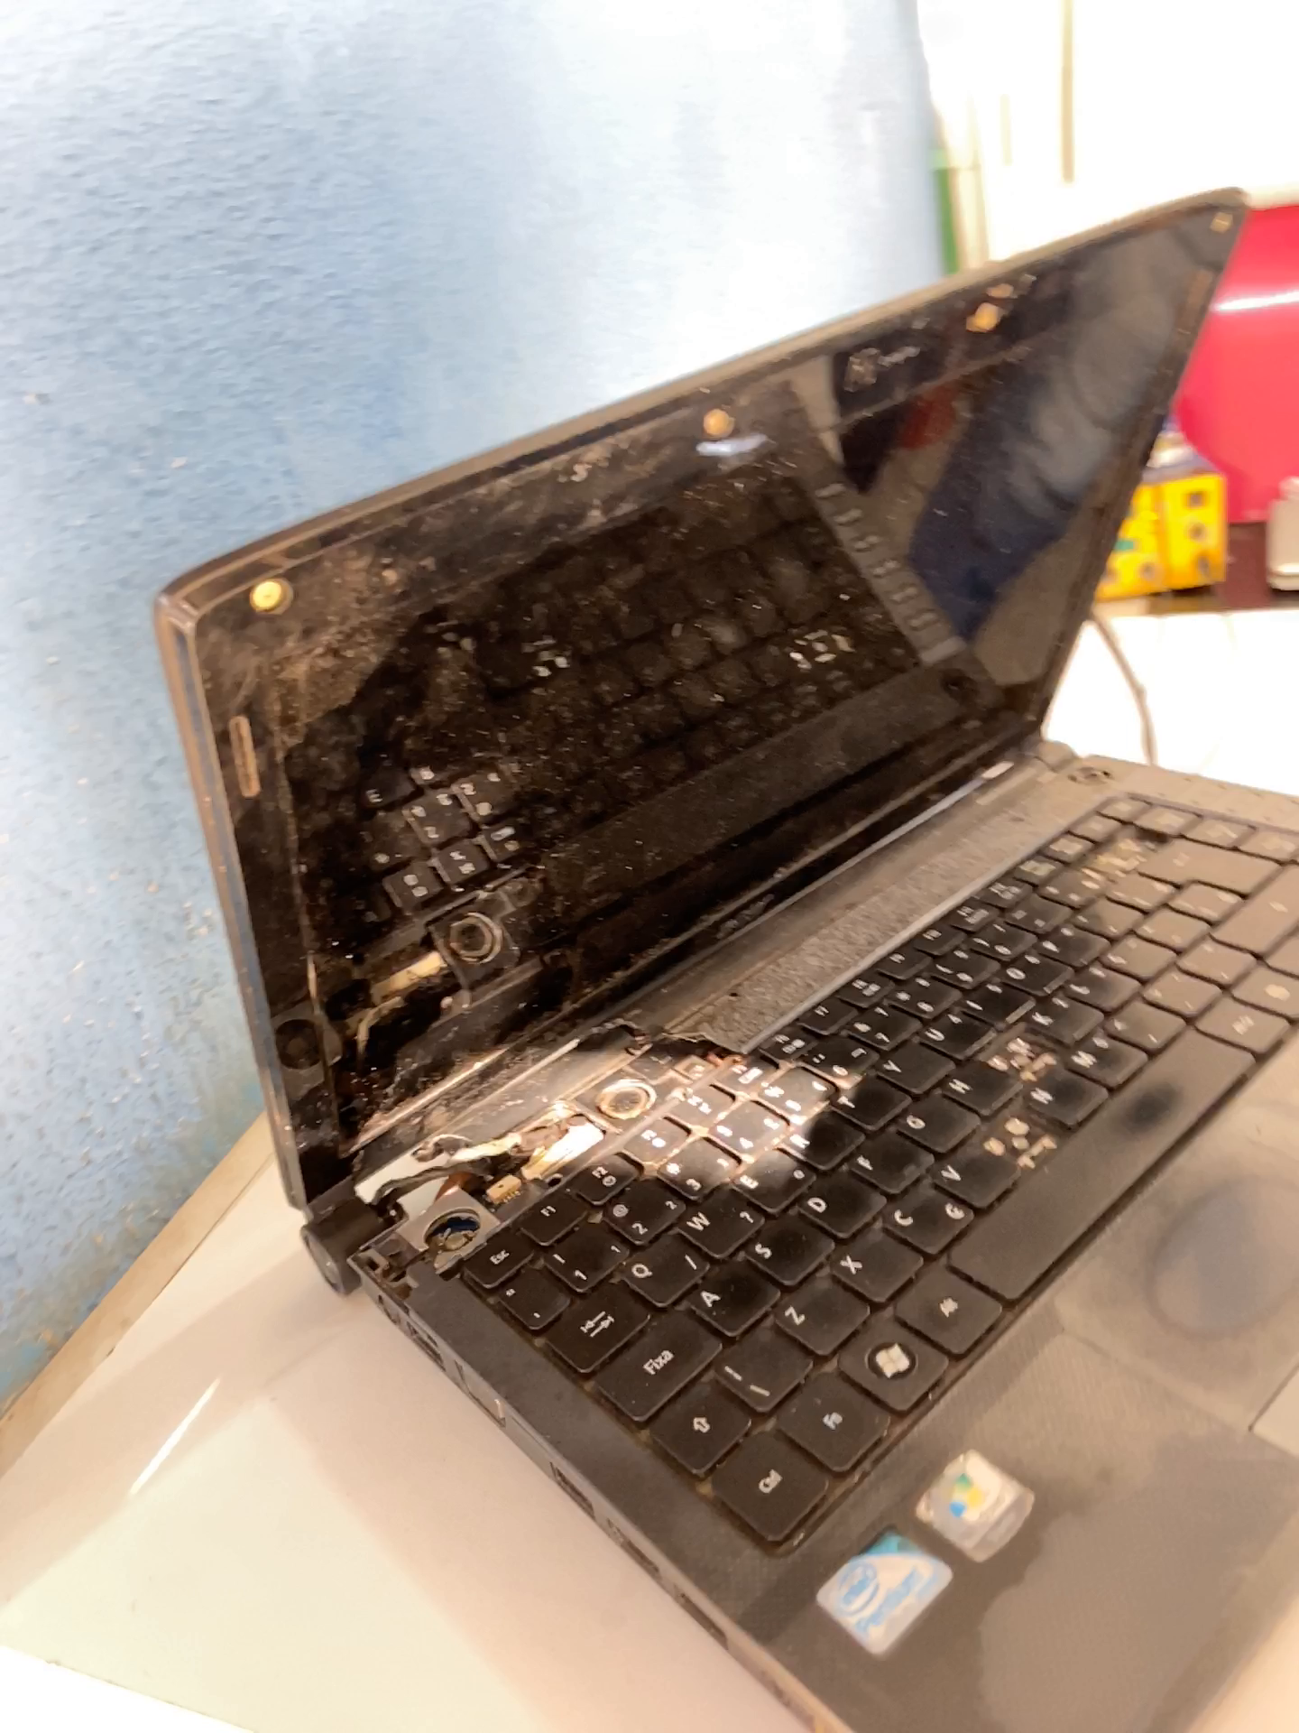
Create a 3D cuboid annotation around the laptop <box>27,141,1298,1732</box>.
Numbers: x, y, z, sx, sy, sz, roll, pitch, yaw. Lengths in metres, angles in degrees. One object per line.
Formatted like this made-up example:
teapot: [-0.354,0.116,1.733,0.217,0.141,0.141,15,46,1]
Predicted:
laptop: [0.088,-0.032,0.325,0.335,0.182,0.229,-30,32,-31]
